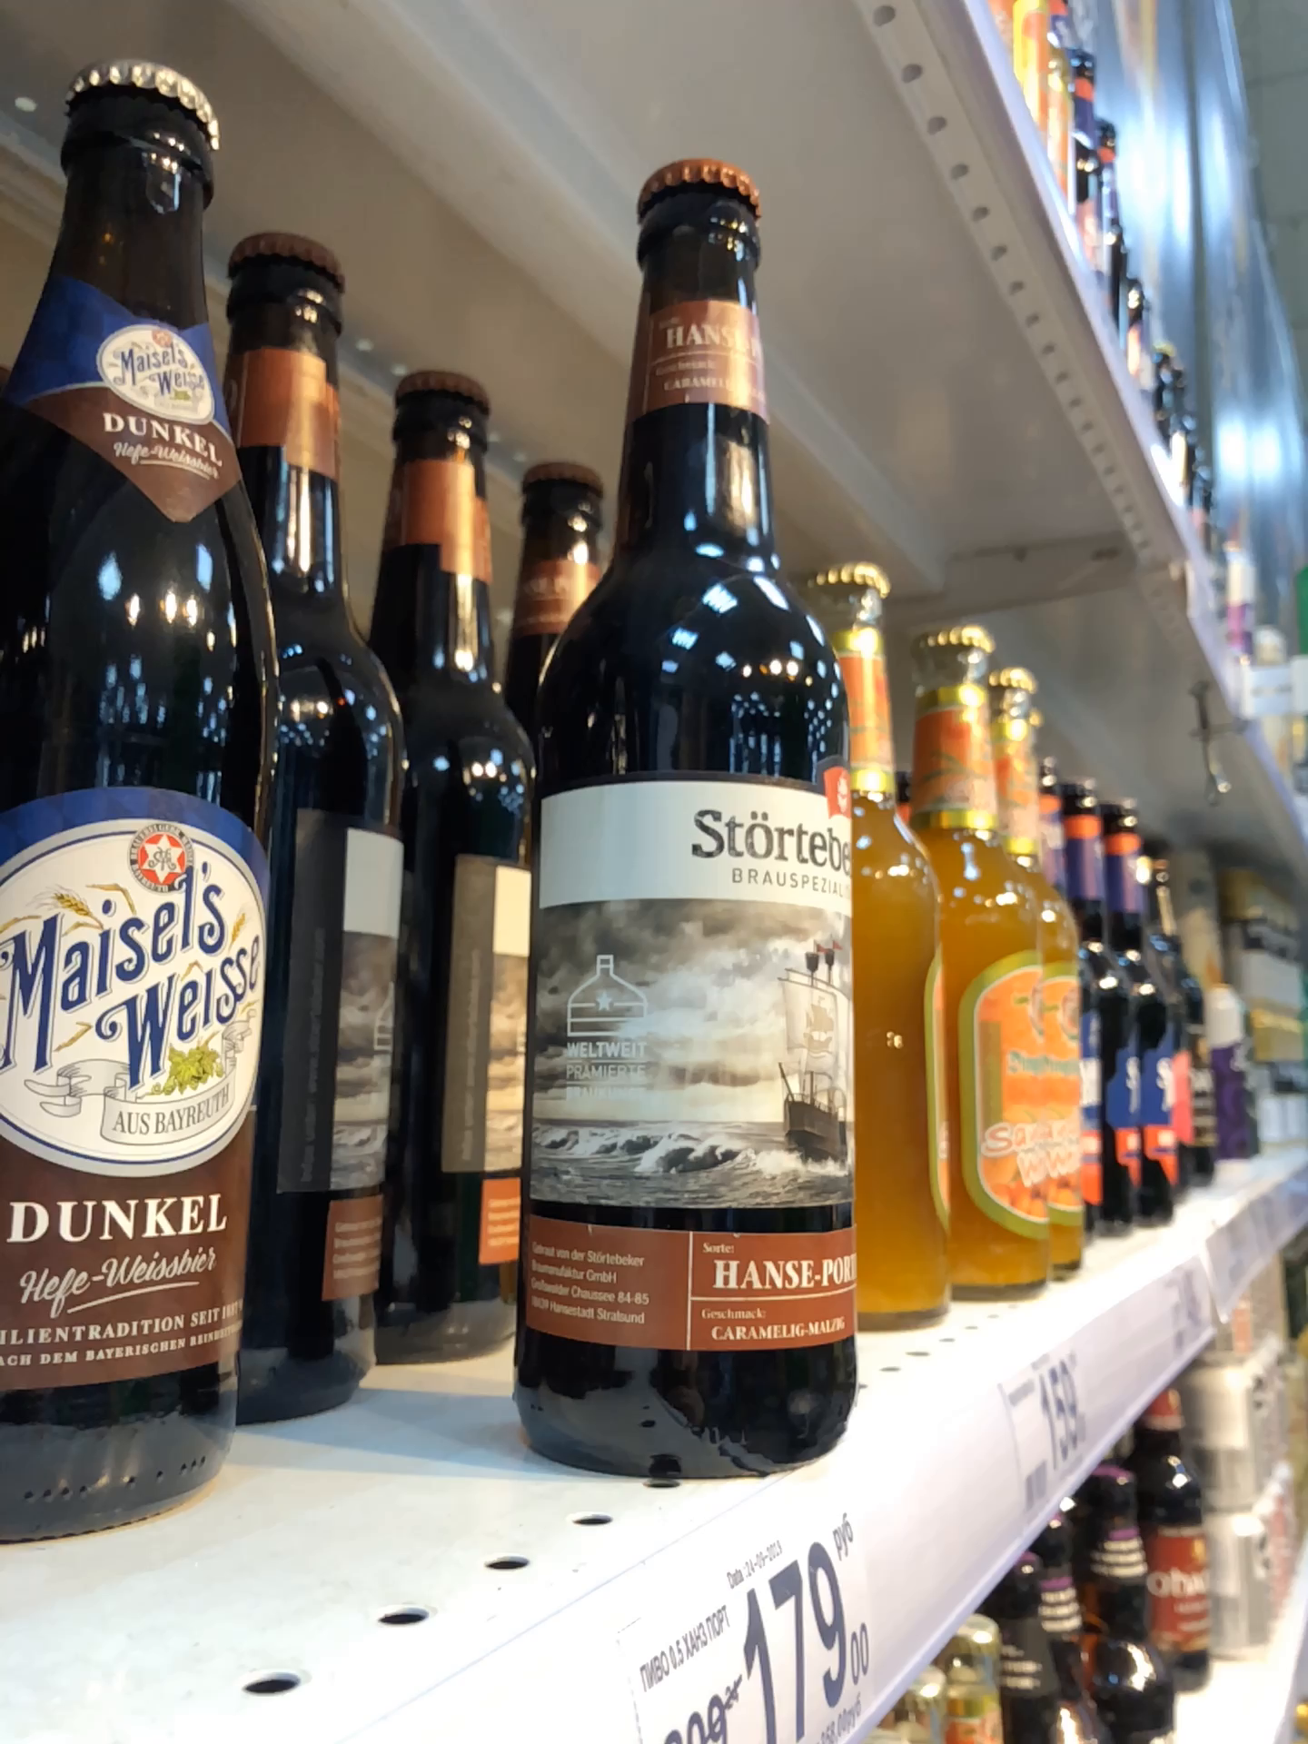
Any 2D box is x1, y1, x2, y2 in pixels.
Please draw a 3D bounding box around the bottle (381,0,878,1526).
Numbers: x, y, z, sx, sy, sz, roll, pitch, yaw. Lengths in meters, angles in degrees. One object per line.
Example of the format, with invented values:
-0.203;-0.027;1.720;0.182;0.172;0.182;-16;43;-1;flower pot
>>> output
0.001;-0.025;0.308;0.070;0.281;0.070;2;-9;0;bottle
